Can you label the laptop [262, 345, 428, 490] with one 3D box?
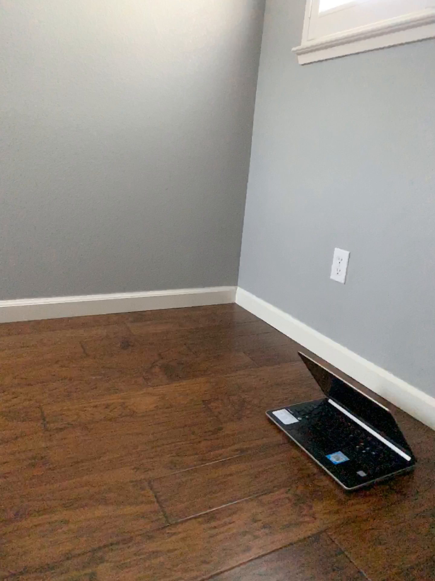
[{"bbox_3d":[0.300,0.288,1.106,0.219,0.169,0.318,-4,18,-29],"label":"laptop"}]
